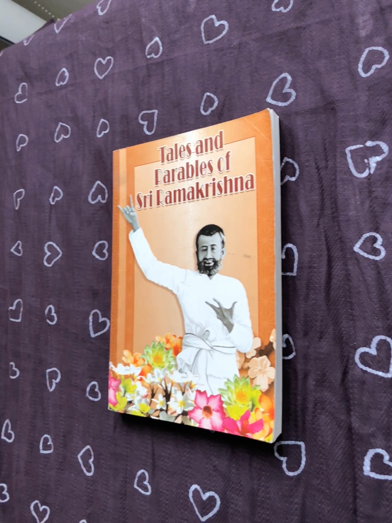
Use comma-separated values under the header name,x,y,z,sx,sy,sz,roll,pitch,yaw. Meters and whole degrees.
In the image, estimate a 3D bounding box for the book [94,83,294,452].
name,x,y,z,sx,sy,sz,roll,pitch,yaw
book,-0.007,0.003,0.269,0.130,0.020,0.190,-3,83,34
